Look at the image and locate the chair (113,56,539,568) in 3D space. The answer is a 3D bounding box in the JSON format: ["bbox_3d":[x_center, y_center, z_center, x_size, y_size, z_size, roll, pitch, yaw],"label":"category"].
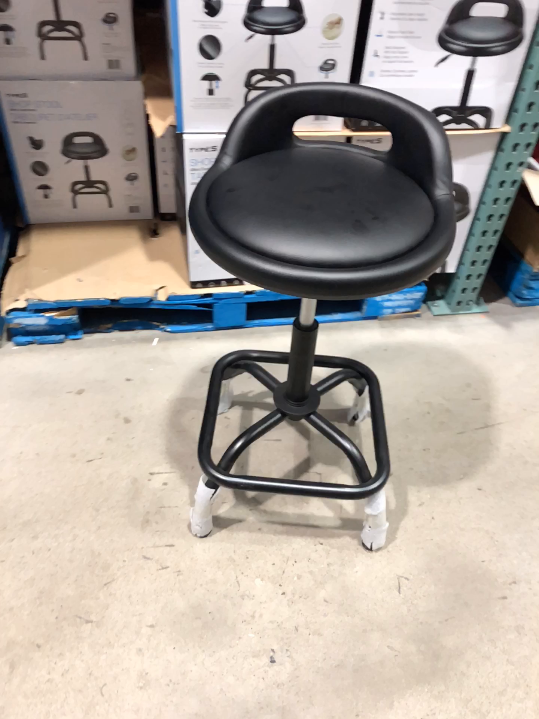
[{"bbox_3d":[0.056,-0.059,1.091,0.480,0.747,0.512,5,43,-1],"label":"chair"}]
